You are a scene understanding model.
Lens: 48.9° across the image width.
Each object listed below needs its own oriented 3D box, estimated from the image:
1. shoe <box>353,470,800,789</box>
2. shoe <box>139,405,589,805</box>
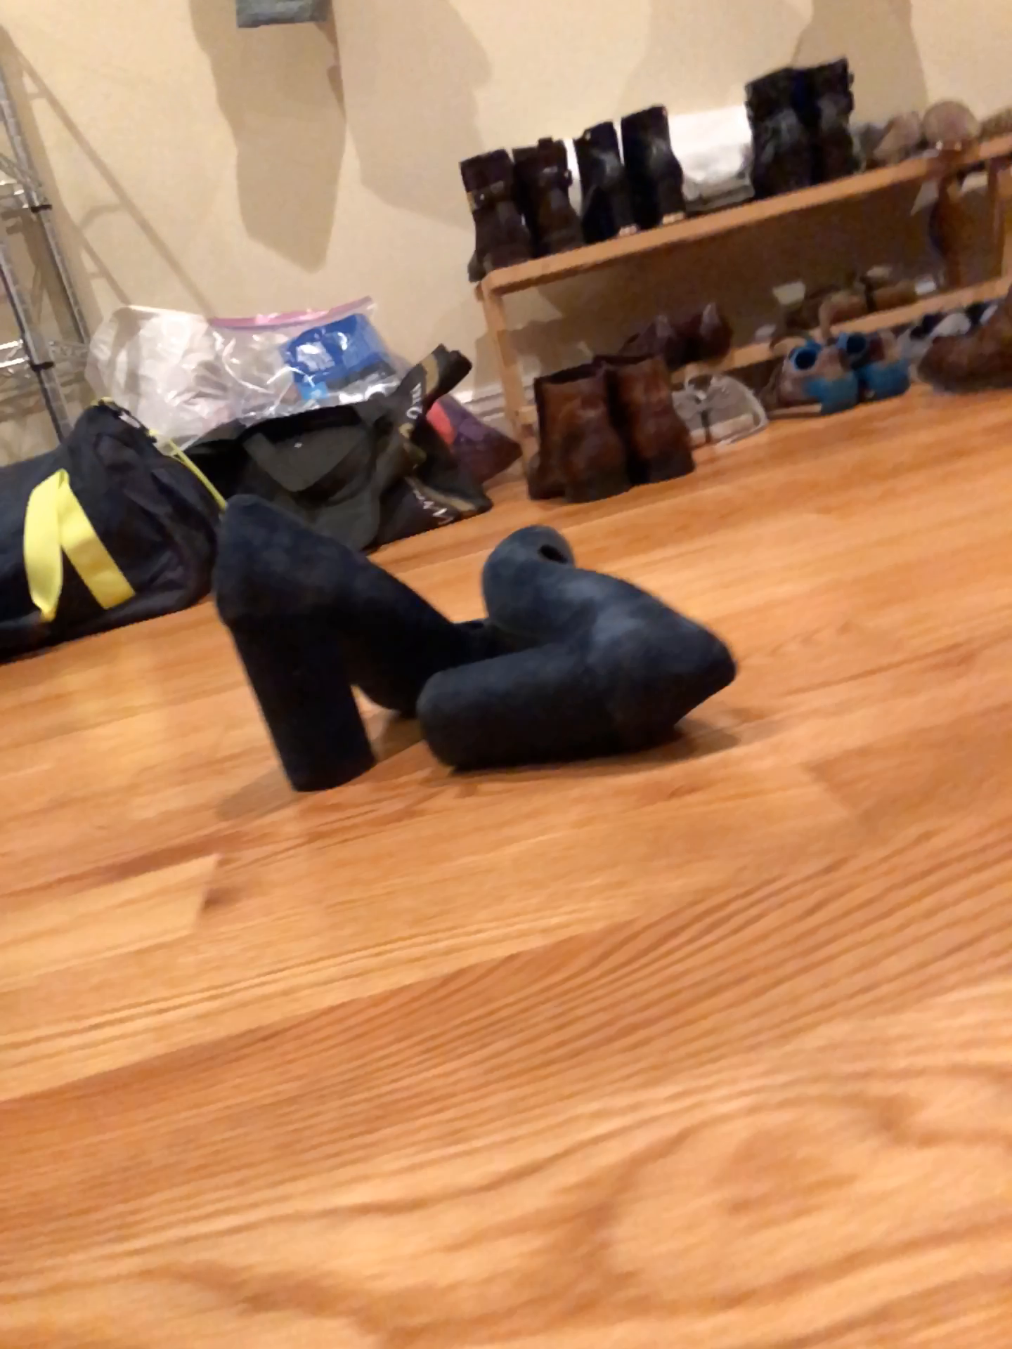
[{"bbox_3d":[0.049,-0.029,0.552,0.152,0.080,0.205,-8,17,25],"label":"shoe"},{"bbox_3d":[-0.062,-0.047,0.608,0.080,0.146,0.227,-3,19,37],"label":"shoe"}]
